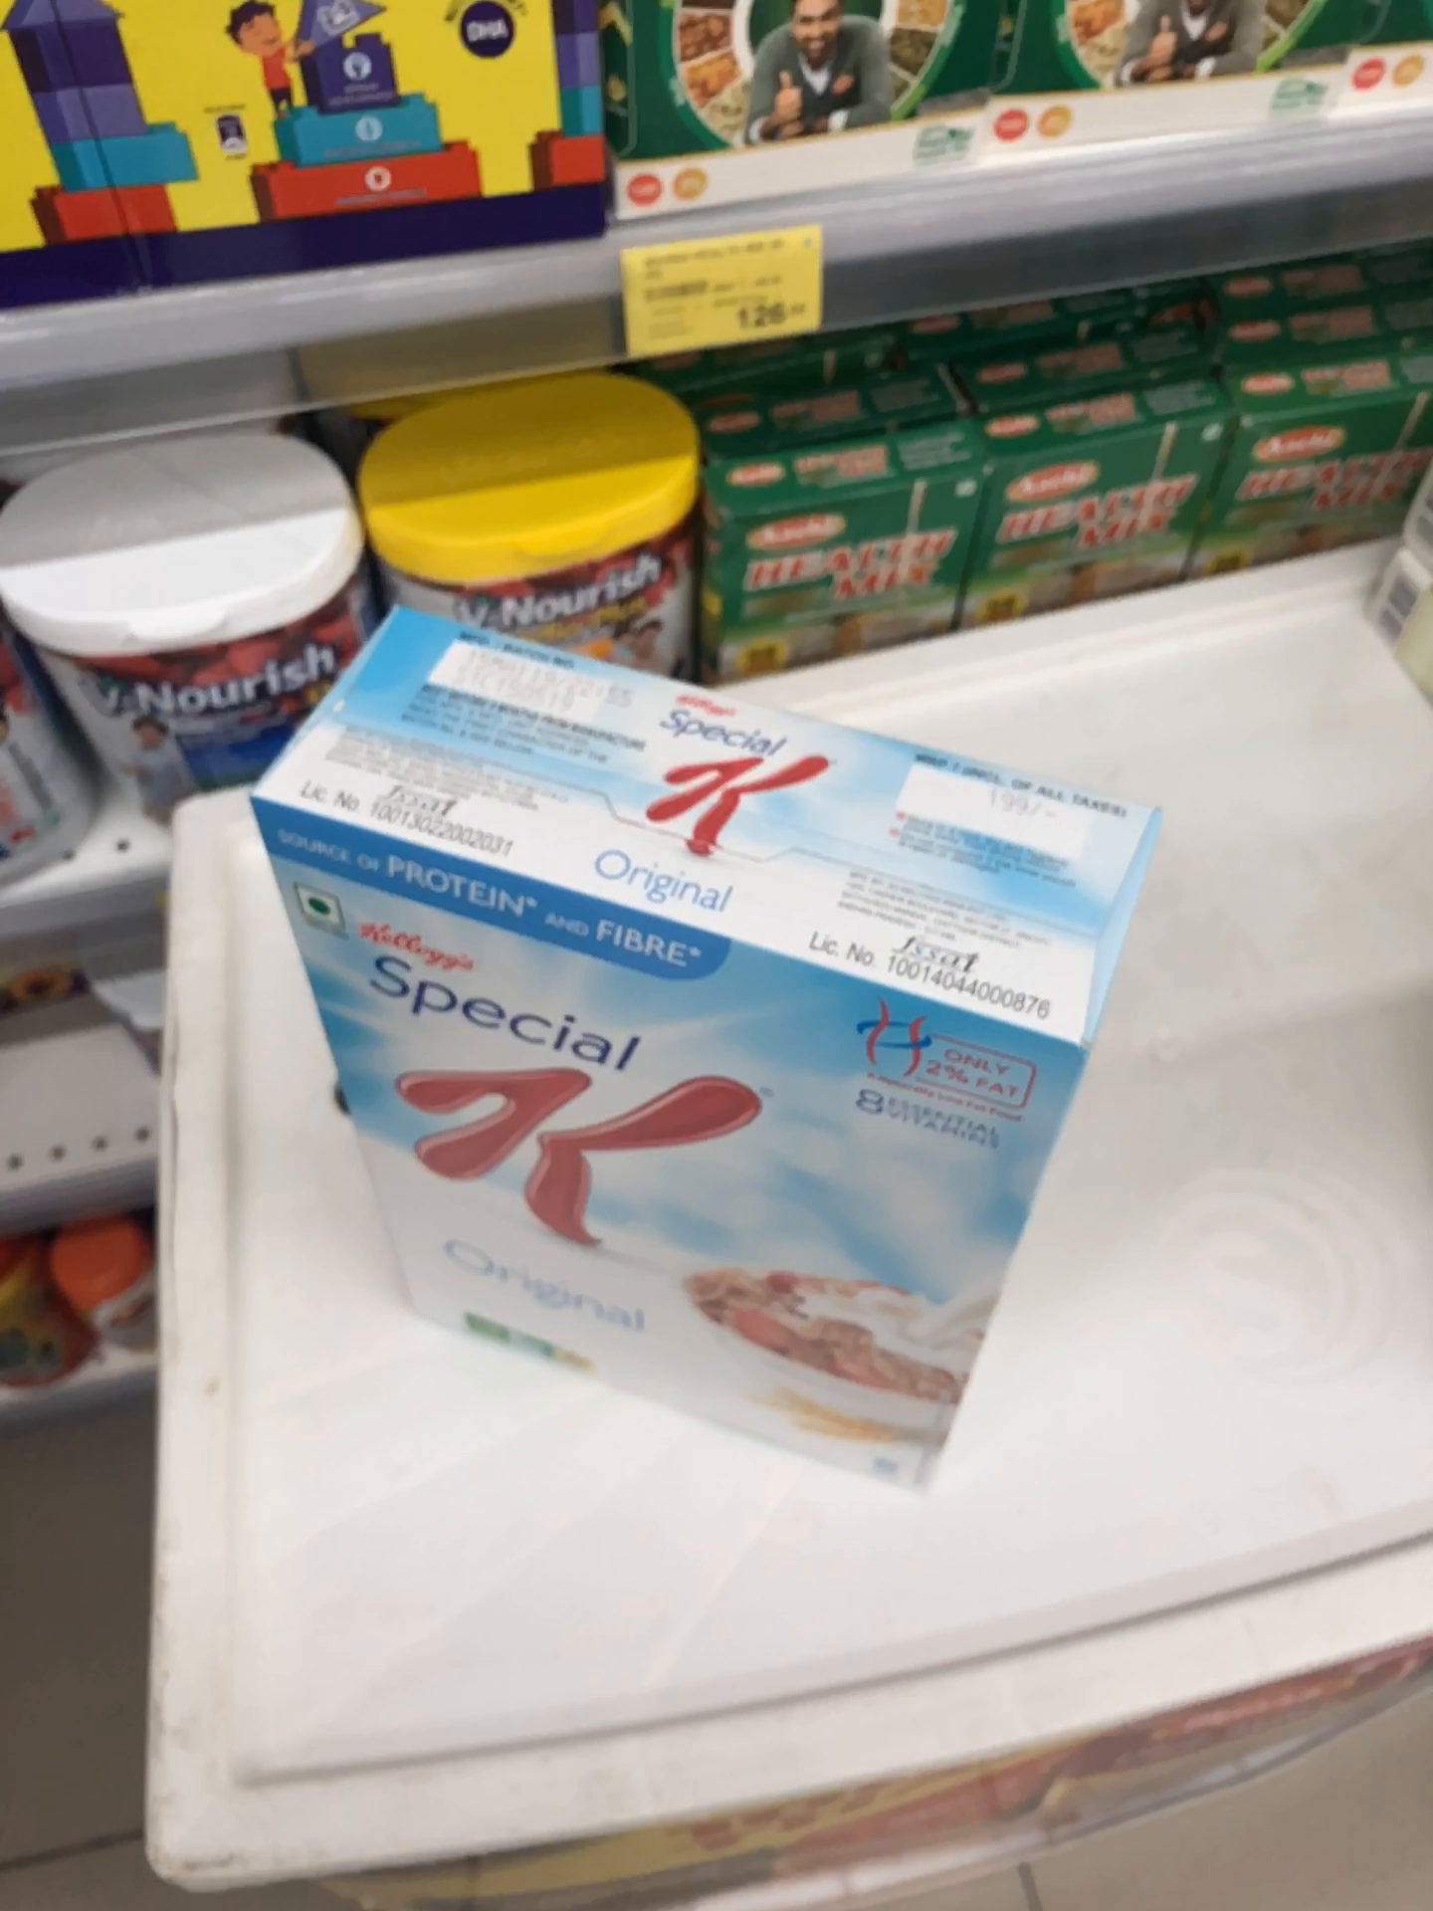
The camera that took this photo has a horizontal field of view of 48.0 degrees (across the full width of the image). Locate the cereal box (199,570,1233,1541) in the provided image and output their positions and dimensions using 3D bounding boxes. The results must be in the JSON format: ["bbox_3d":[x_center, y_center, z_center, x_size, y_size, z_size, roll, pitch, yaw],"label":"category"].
[{"bbox_3d":[-0.002,0.046,0.420,0.190,0.260,0.070,17,55,11],"label":"cereal box"}]
